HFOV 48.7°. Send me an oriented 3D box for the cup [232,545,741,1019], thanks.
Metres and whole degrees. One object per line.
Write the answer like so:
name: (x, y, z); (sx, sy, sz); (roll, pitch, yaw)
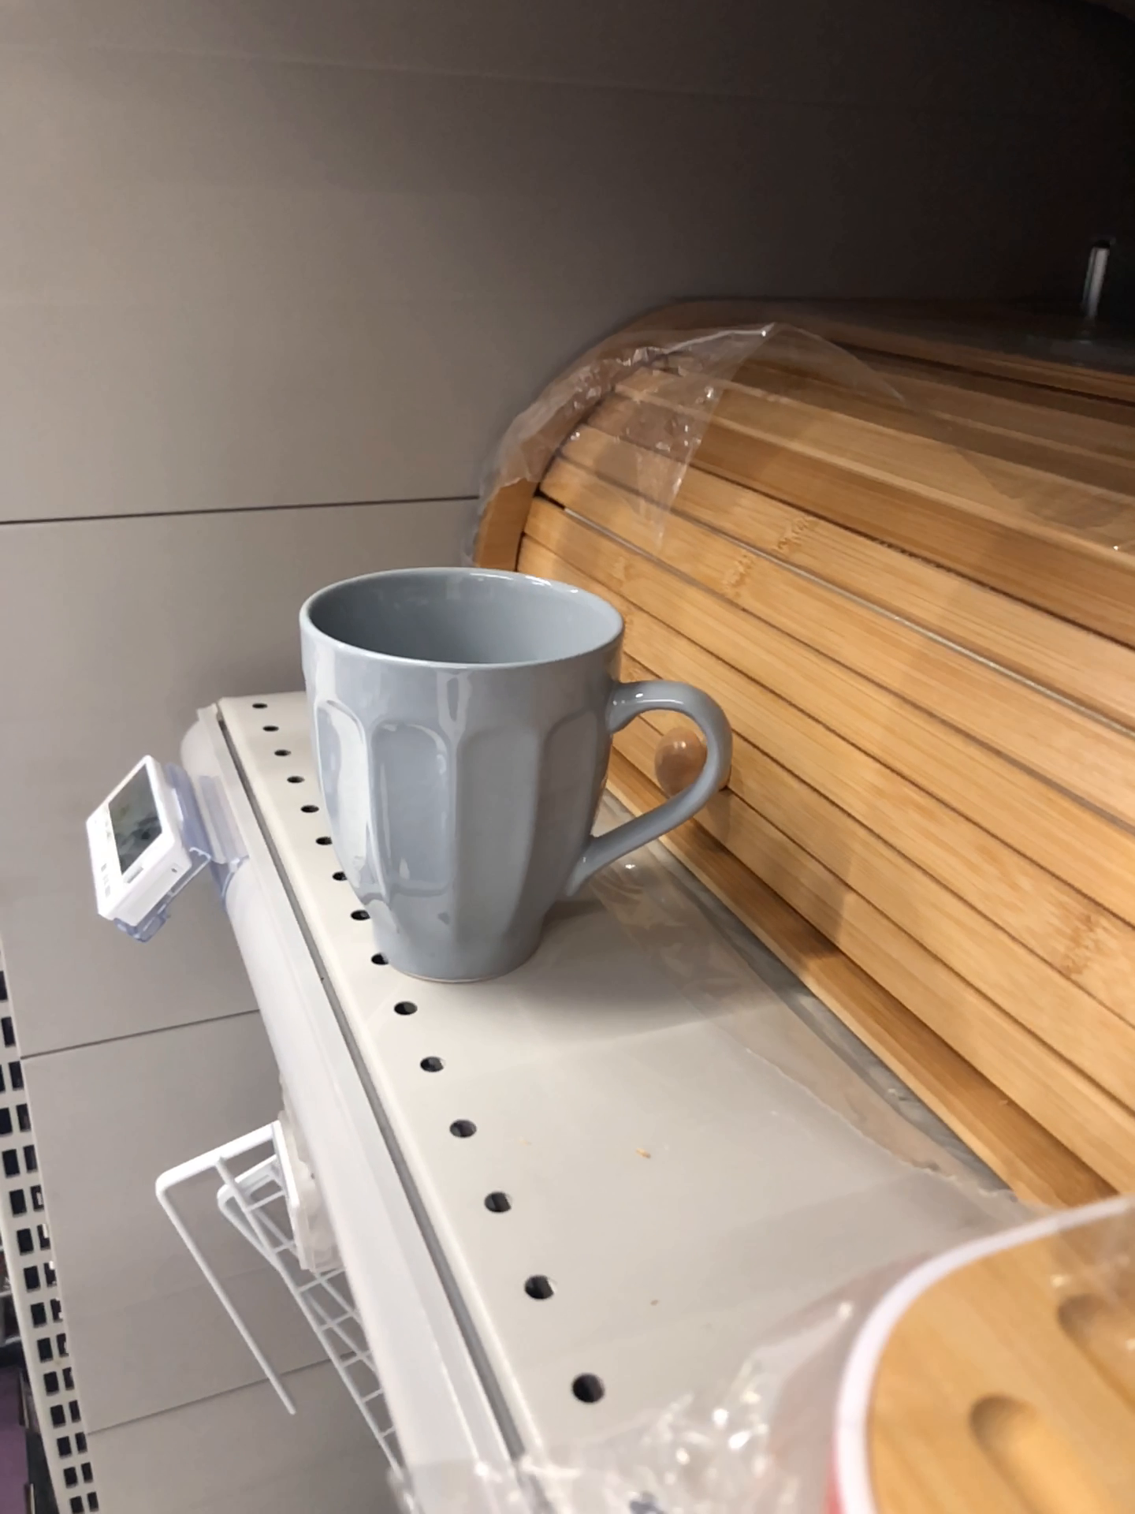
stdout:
cup: (-0.017, 0.001, 0.355); (0.116, 0.091, 0.093); (7, 24, 10)
